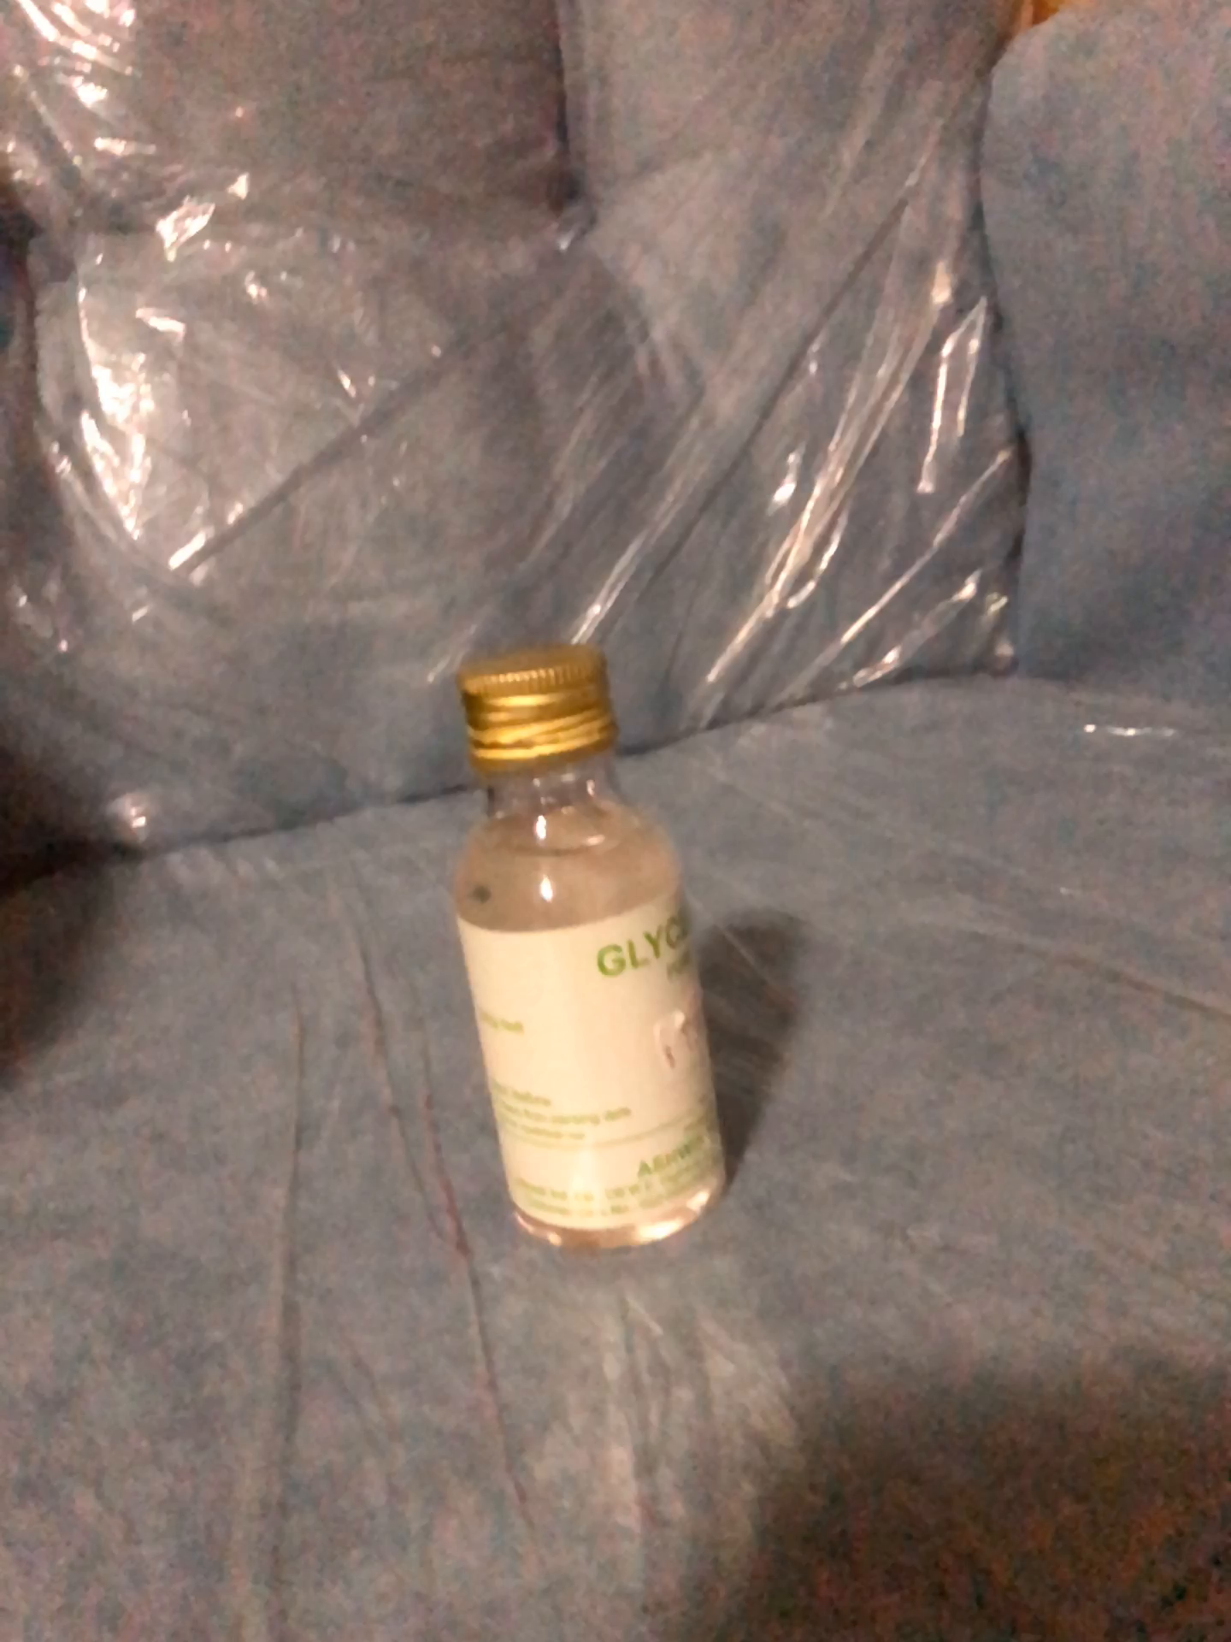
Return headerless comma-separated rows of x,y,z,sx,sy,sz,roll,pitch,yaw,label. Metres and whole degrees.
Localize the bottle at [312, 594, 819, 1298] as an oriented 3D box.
-0.005,0.017,0.232,0.050,0.100,0.050,-8,19,3,bottle
